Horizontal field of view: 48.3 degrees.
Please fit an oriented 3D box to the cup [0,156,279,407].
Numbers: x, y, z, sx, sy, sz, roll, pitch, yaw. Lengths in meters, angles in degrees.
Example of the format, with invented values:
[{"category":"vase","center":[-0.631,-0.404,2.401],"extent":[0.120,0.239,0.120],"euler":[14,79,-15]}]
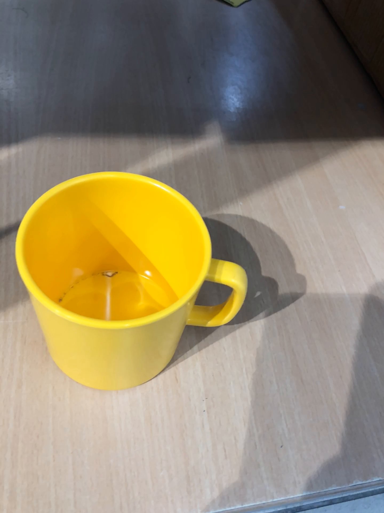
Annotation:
[{"category":"cup","center":[-0.027,0.018,0.218],"extent":[0.110,0.090,0.080],"euler":[7,53,-7]}]
